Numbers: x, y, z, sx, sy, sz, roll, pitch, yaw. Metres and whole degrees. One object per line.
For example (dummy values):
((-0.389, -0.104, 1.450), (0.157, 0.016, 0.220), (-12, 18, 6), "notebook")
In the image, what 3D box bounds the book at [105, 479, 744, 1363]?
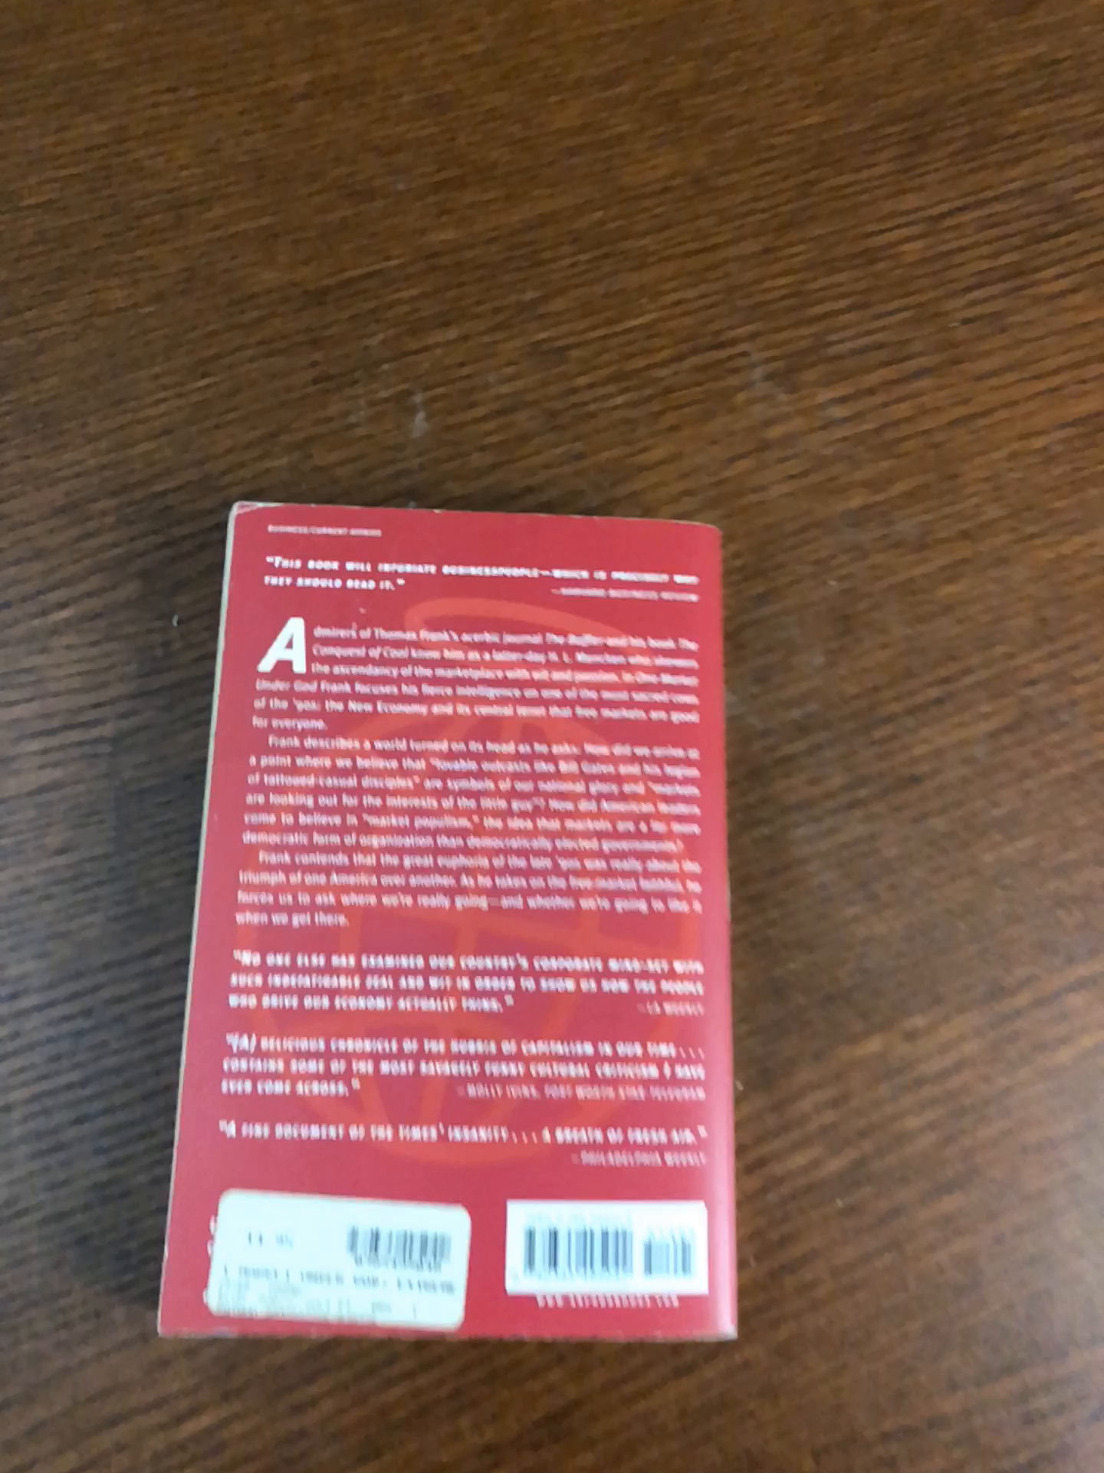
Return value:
((-0.026, 0.040, 0.312), (0.140, 0.030, 0.210), (2, 75, -3), "book")
